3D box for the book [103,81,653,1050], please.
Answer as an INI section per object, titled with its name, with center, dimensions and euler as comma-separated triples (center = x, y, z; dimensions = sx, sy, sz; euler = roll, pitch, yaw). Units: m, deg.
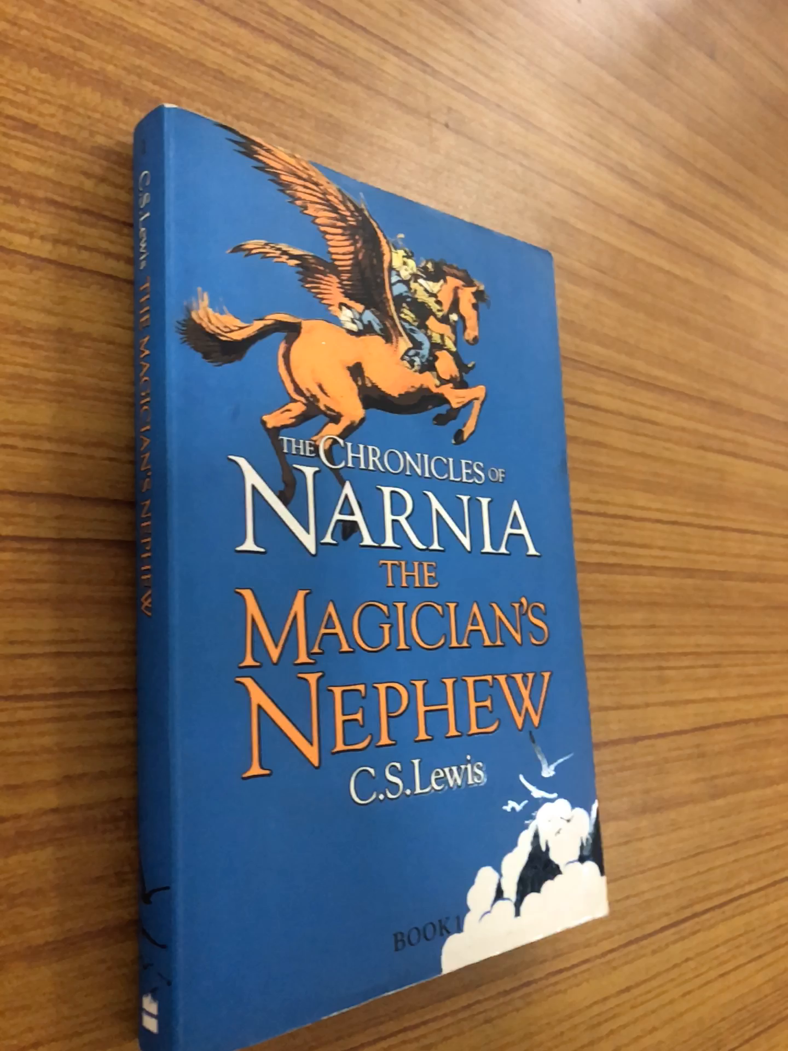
[book]
center = 0.002, 0.011, 0.222
dimensions = 0.141, 0.030, 0.190
euler = 4, 79, -41
